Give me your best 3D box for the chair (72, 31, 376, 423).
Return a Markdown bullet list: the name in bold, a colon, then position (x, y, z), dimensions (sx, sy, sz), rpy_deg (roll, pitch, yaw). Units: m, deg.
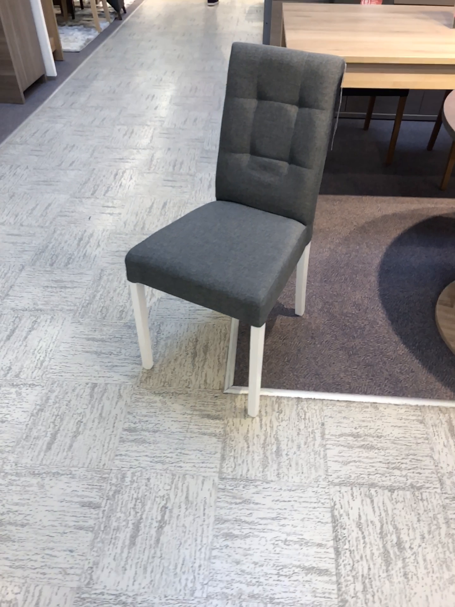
- **chair**: position (0.025, -0.221, 1.400), dimensions (0.460, 0.825, 0.584), rpy_deg (21, 45, 23)
